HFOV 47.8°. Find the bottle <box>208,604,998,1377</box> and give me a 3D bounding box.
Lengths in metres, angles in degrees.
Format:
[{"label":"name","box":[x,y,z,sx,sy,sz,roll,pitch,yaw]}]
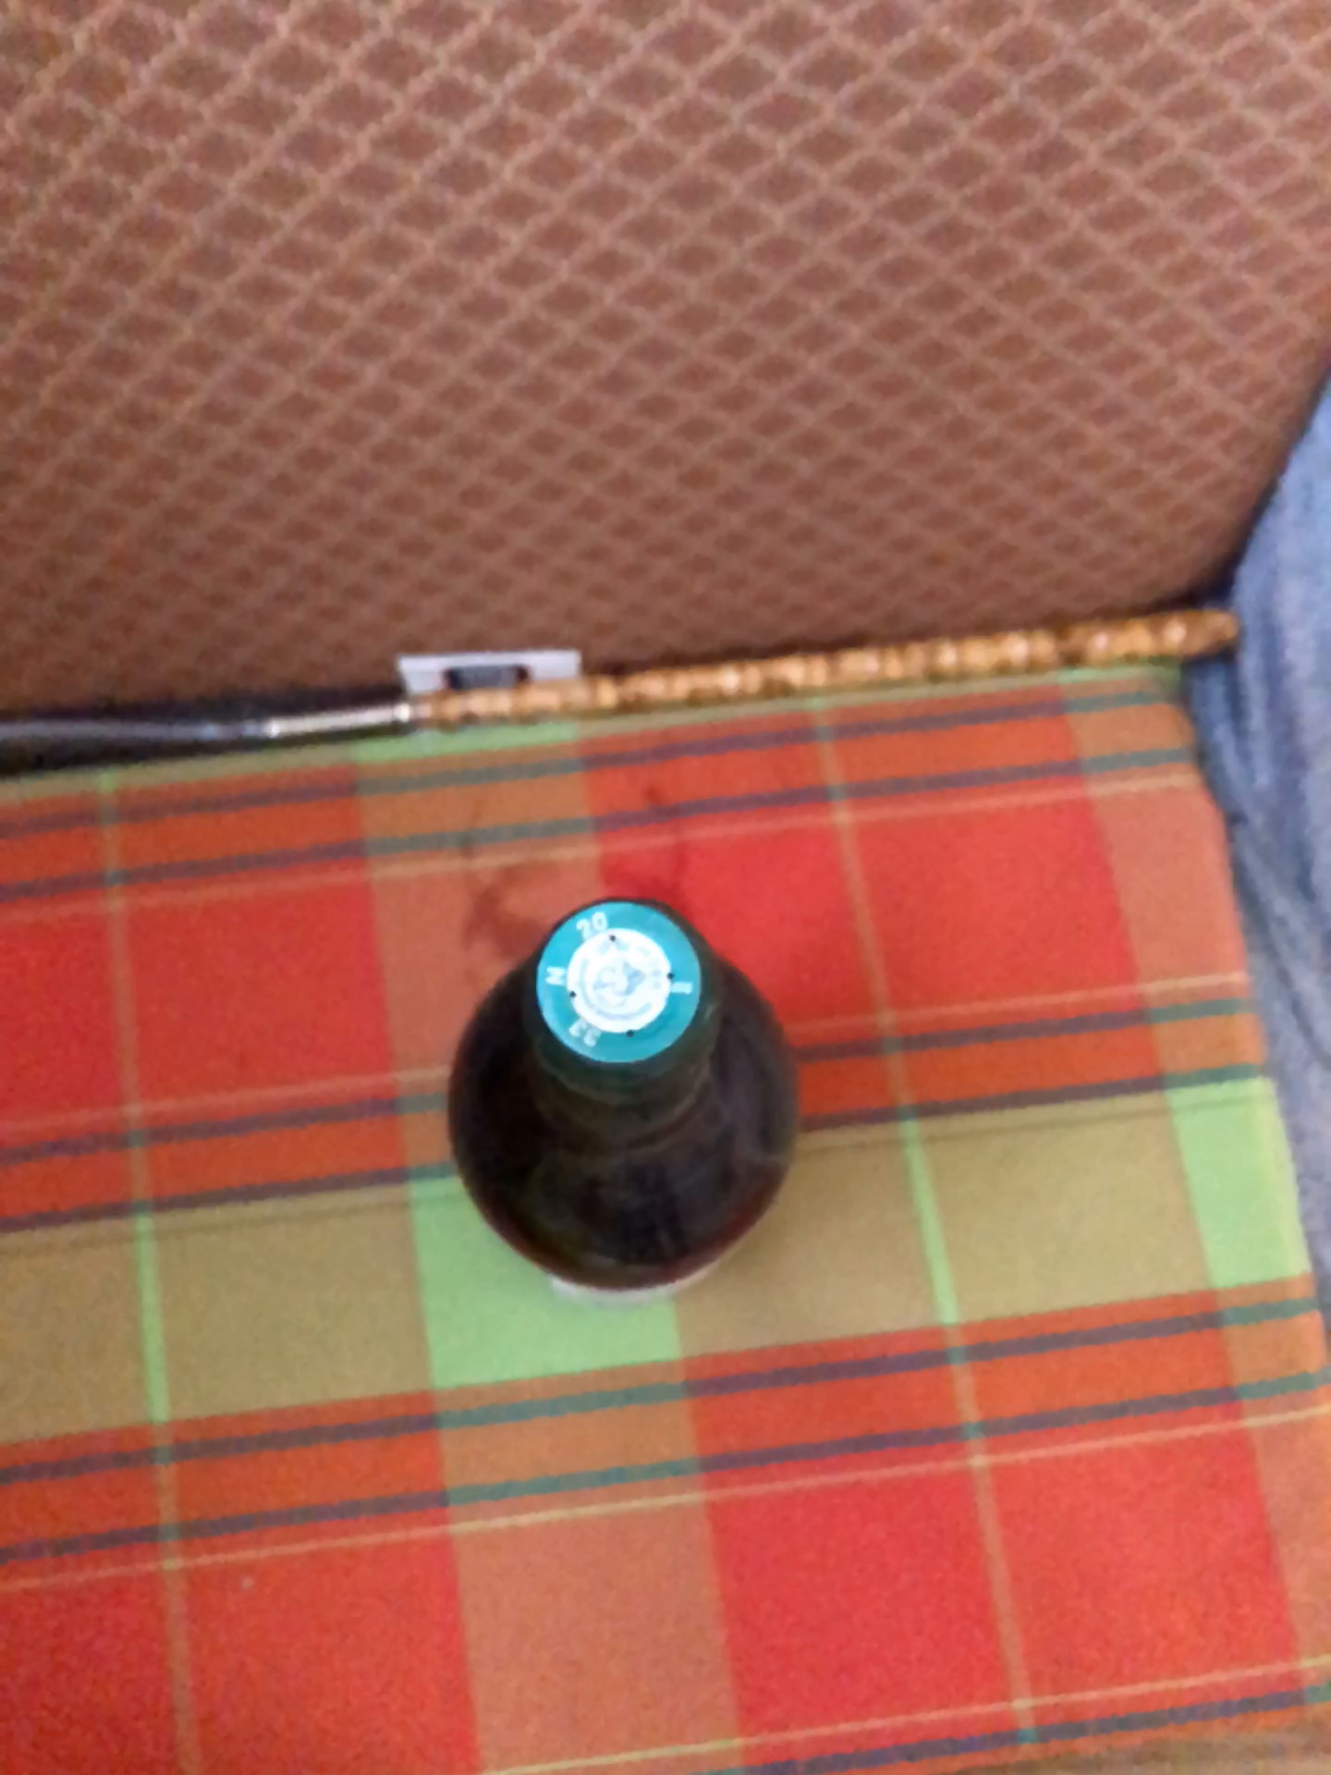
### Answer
[{"label":"bottle","box":[-0.011,0.050,0.339,0.080,0.270,0.080,0,73,-1]}]
